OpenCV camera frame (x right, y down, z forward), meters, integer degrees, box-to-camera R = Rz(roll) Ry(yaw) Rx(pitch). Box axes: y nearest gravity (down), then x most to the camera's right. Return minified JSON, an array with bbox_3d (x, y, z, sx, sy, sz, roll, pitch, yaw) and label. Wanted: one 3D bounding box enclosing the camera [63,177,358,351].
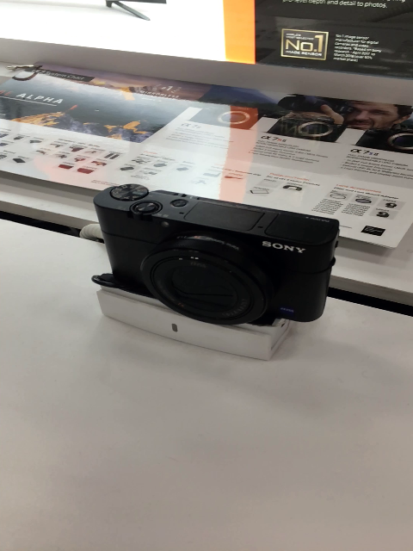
[{"bbox_3d":[0.002,-0.007,0.258,0.117,0.056,0.037,13,49,17],"label":"camera"}]
